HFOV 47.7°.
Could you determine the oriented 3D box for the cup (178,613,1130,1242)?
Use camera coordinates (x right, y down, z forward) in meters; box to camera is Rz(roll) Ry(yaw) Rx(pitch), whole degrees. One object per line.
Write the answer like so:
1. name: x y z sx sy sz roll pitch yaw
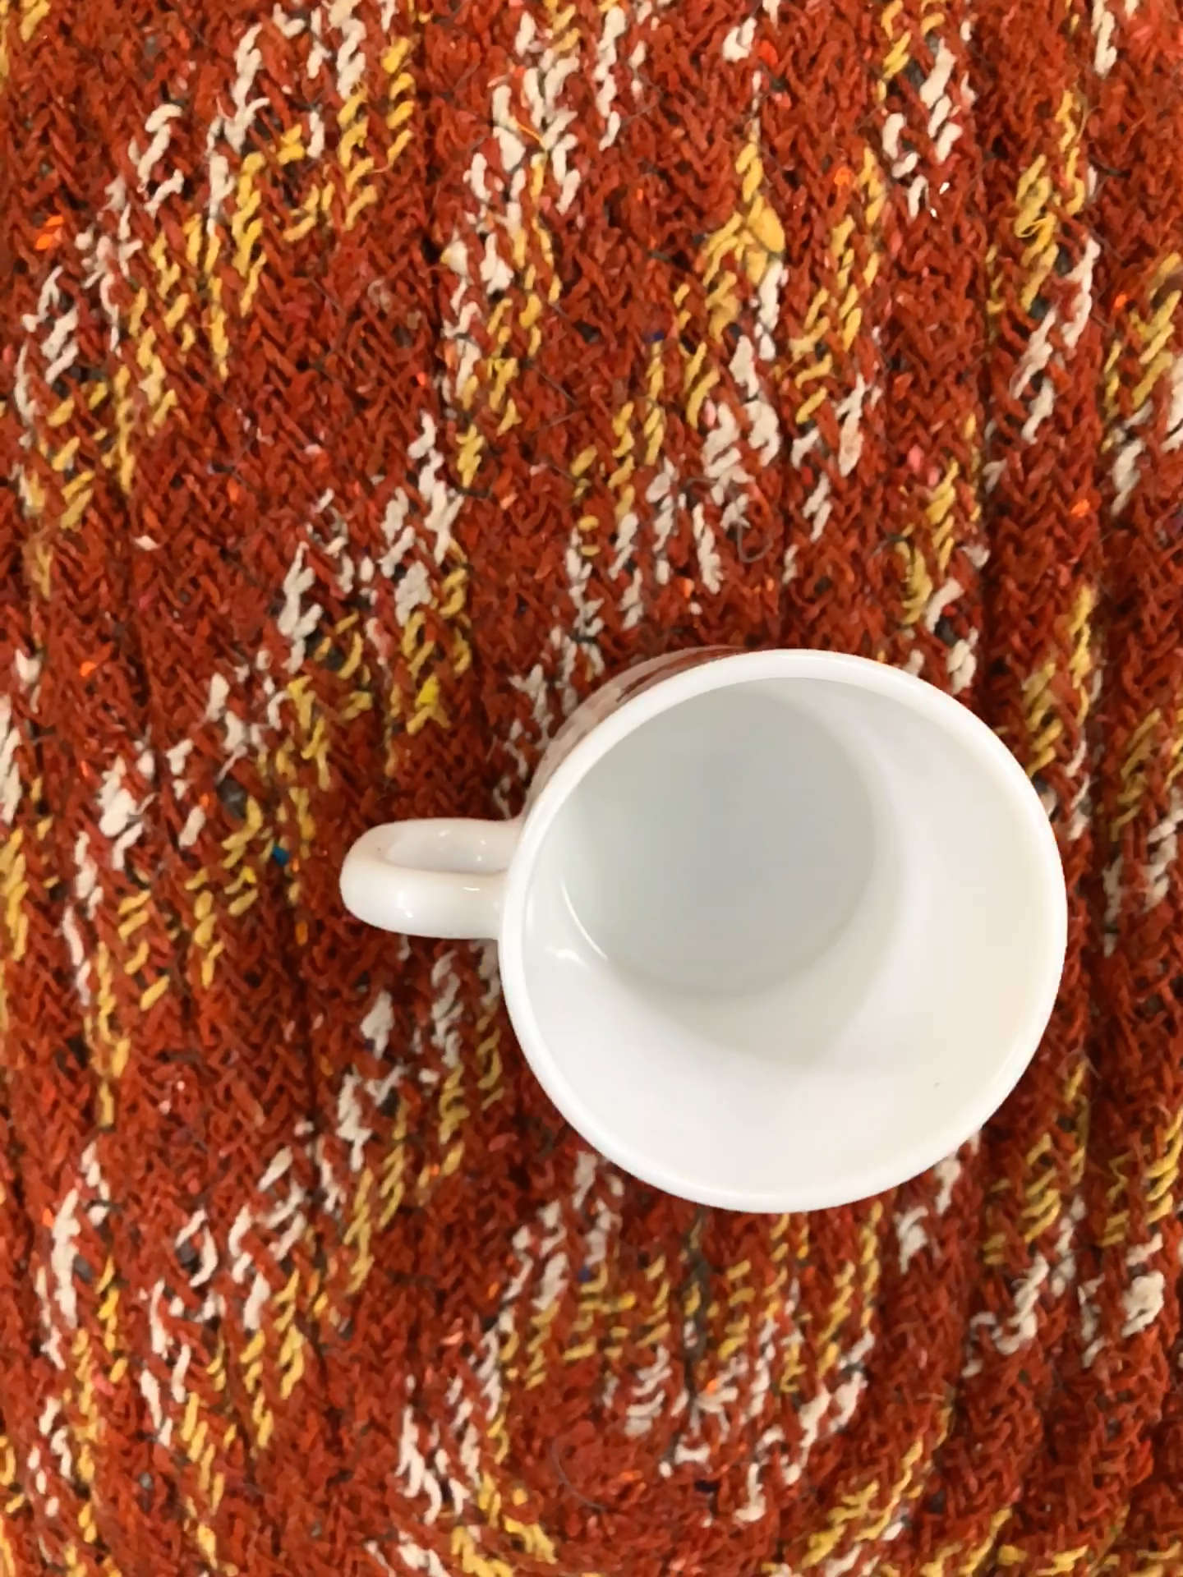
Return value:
1. cup: 0.004 0.011 0.160 0.090 0.060 0.060 1 99 -4
